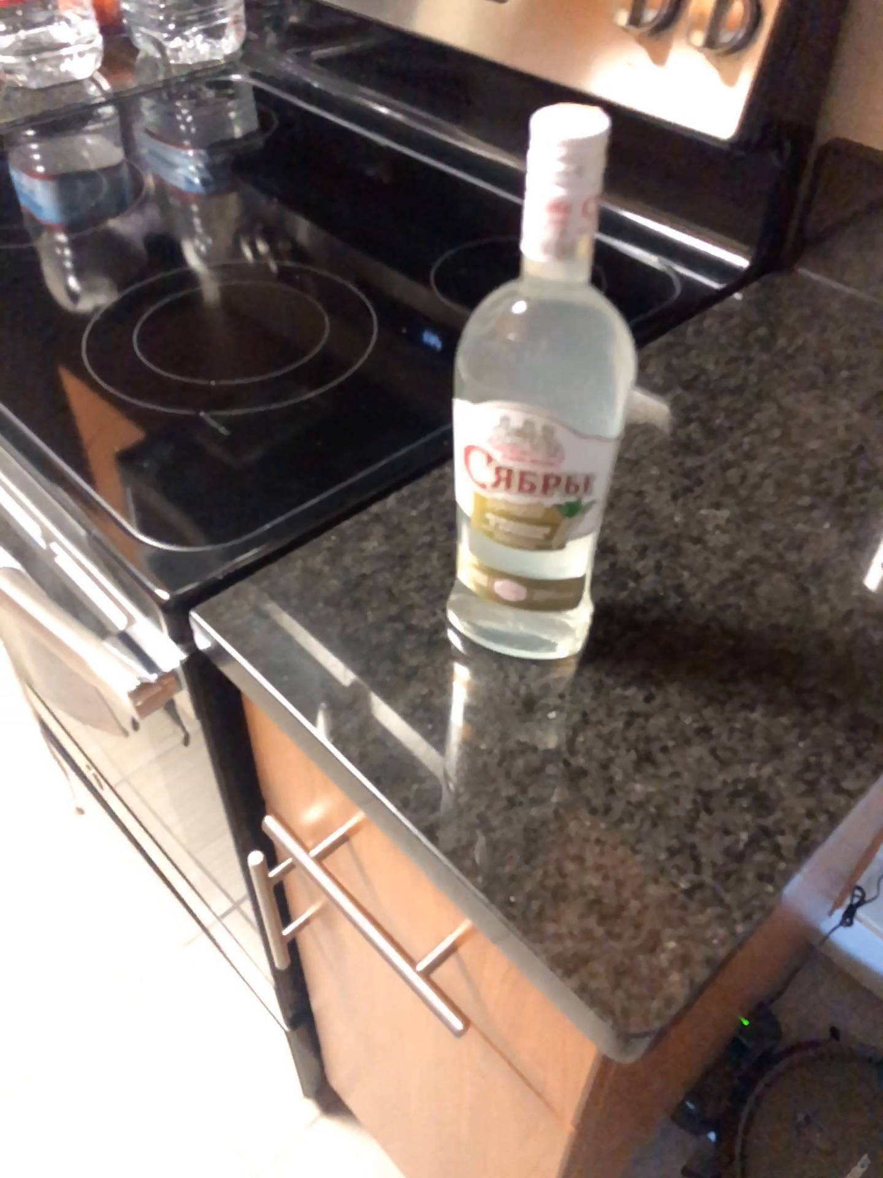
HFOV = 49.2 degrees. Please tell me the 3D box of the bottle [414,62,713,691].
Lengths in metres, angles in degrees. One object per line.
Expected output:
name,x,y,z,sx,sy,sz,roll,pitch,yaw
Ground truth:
bottle,0.043,-0.076,0.437,0.090,0.269,0.060,20,48,19
